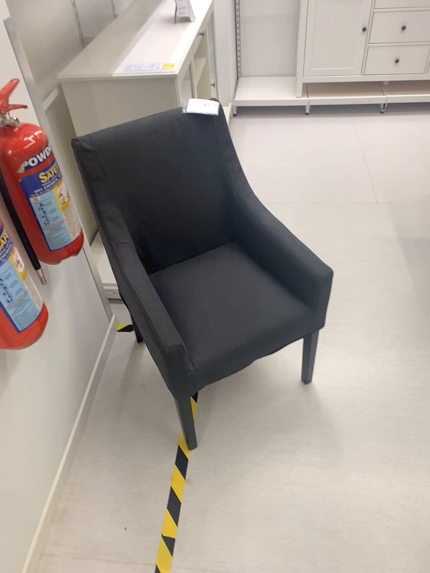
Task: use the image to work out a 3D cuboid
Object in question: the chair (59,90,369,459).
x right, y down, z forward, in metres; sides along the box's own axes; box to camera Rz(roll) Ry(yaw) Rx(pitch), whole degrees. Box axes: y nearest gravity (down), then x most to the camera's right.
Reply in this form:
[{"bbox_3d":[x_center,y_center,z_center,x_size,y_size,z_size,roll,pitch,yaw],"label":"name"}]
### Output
[{"bbox_3d":[-0.013,-0.036,1.490,0.610,0.917,0.632,-23,46,-18],"label":"chair"}]
